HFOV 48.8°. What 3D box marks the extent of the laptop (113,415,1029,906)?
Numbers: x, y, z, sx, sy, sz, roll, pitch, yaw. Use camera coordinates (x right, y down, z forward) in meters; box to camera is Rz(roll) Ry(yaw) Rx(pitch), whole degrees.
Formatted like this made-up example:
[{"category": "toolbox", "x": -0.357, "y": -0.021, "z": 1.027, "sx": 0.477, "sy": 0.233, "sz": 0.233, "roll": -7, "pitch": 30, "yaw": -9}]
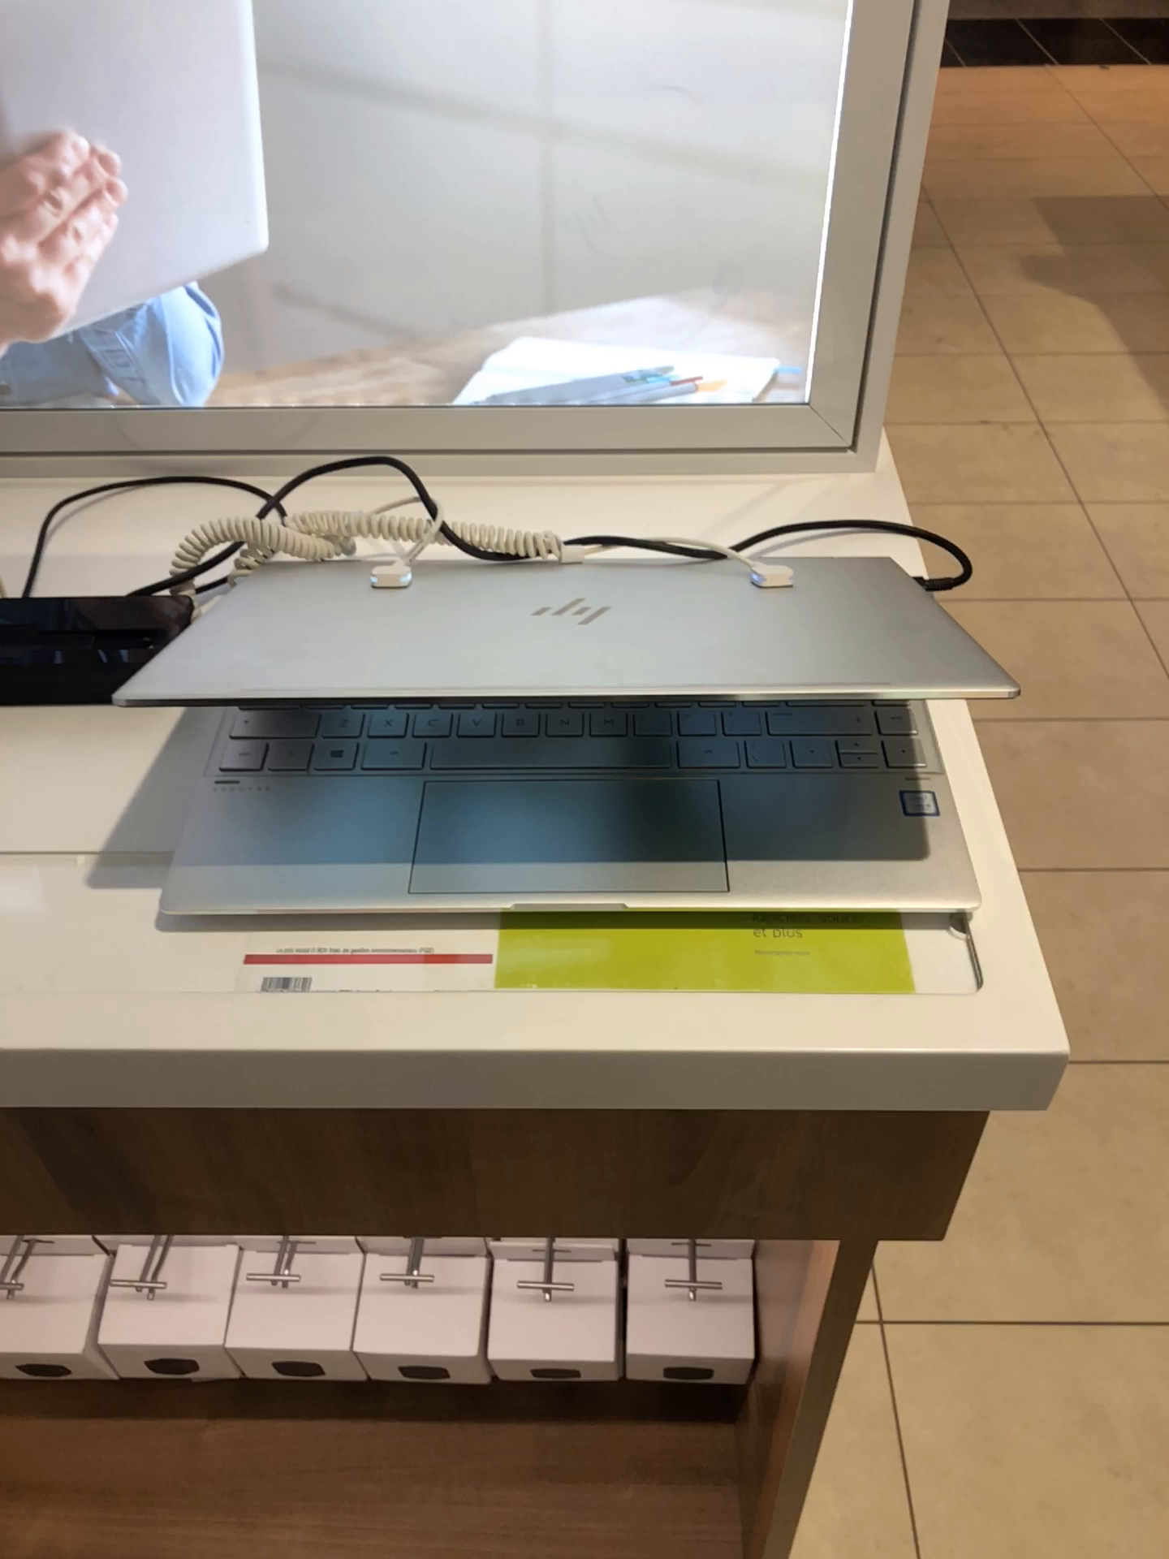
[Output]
[{"category": "laptop", "x": -0.004, "y": -0.057, "z": 0.521, "sx": 0.298, "sy": 0.078, "sz": 0.212, "roll": 0, "pitch": 45, "yaw": 1}]
